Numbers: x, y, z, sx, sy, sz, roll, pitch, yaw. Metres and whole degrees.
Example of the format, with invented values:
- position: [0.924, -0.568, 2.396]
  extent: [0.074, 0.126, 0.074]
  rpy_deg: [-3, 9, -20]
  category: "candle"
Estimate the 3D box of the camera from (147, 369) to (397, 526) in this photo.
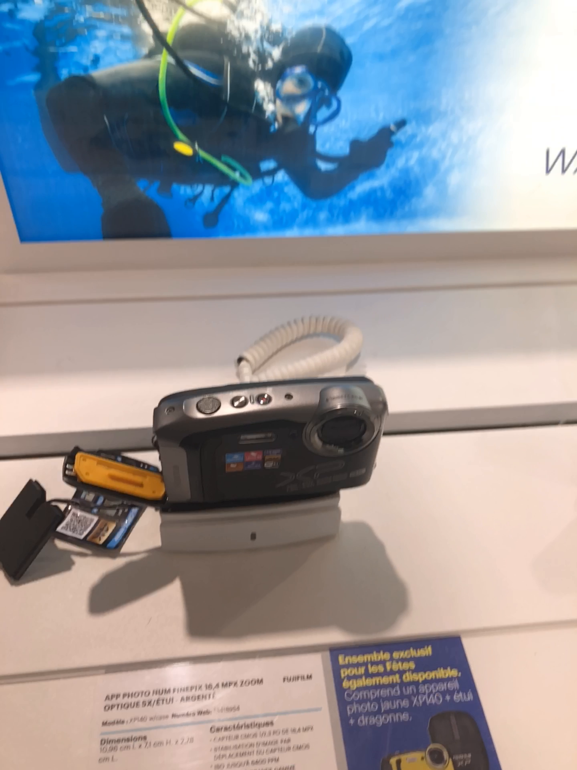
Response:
- position: [-0.008, 0.030, 0.301]
  extent: [0.106, 0.069, 0.023]
  rpy_deg: [-5, 43, -8]
  category: "camera"
